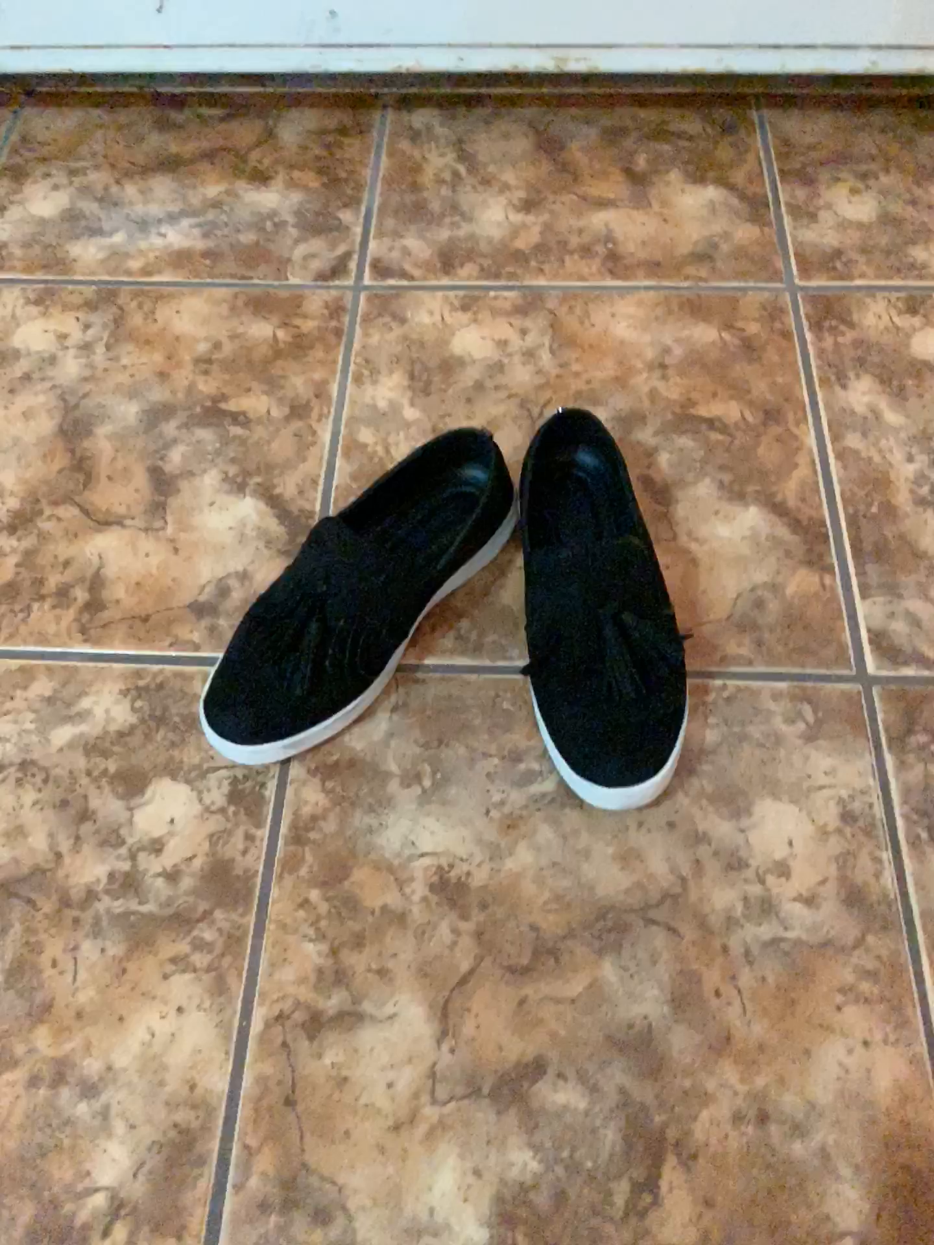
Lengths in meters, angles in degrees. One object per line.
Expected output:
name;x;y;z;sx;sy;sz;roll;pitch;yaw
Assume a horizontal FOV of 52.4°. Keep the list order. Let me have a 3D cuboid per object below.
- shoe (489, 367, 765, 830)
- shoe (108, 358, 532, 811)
shoe;0.078;-0.021;0.553;0.097;0.094;0.250;-7;58;-2
shoe;-0.072;-0.029;0.564;0.097;0.094;0.250;30;64;19
